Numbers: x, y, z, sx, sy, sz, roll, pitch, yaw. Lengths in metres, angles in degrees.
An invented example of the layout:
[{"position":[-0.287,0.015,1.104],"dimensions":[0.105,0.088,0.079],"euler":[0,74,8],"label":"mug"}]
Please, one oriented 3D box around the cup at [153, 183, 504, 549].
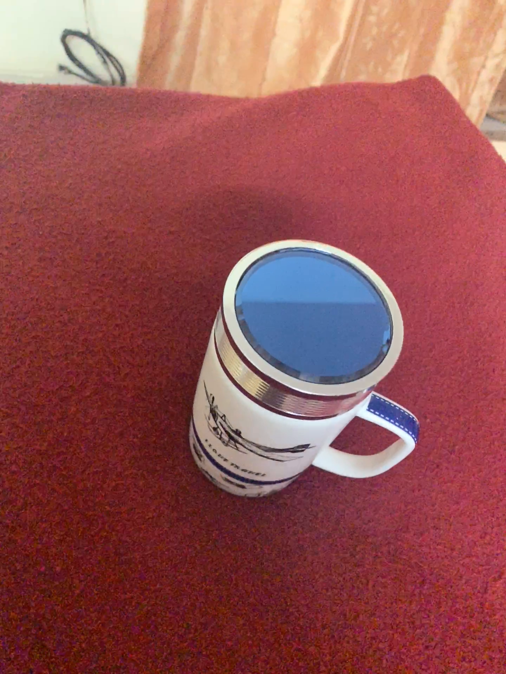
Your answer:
[{"position":[0.026,0.025,0.272],"dimensions":[0.120,0.139,0.091],"euler":[27,57,5],"label":"cup"}]
